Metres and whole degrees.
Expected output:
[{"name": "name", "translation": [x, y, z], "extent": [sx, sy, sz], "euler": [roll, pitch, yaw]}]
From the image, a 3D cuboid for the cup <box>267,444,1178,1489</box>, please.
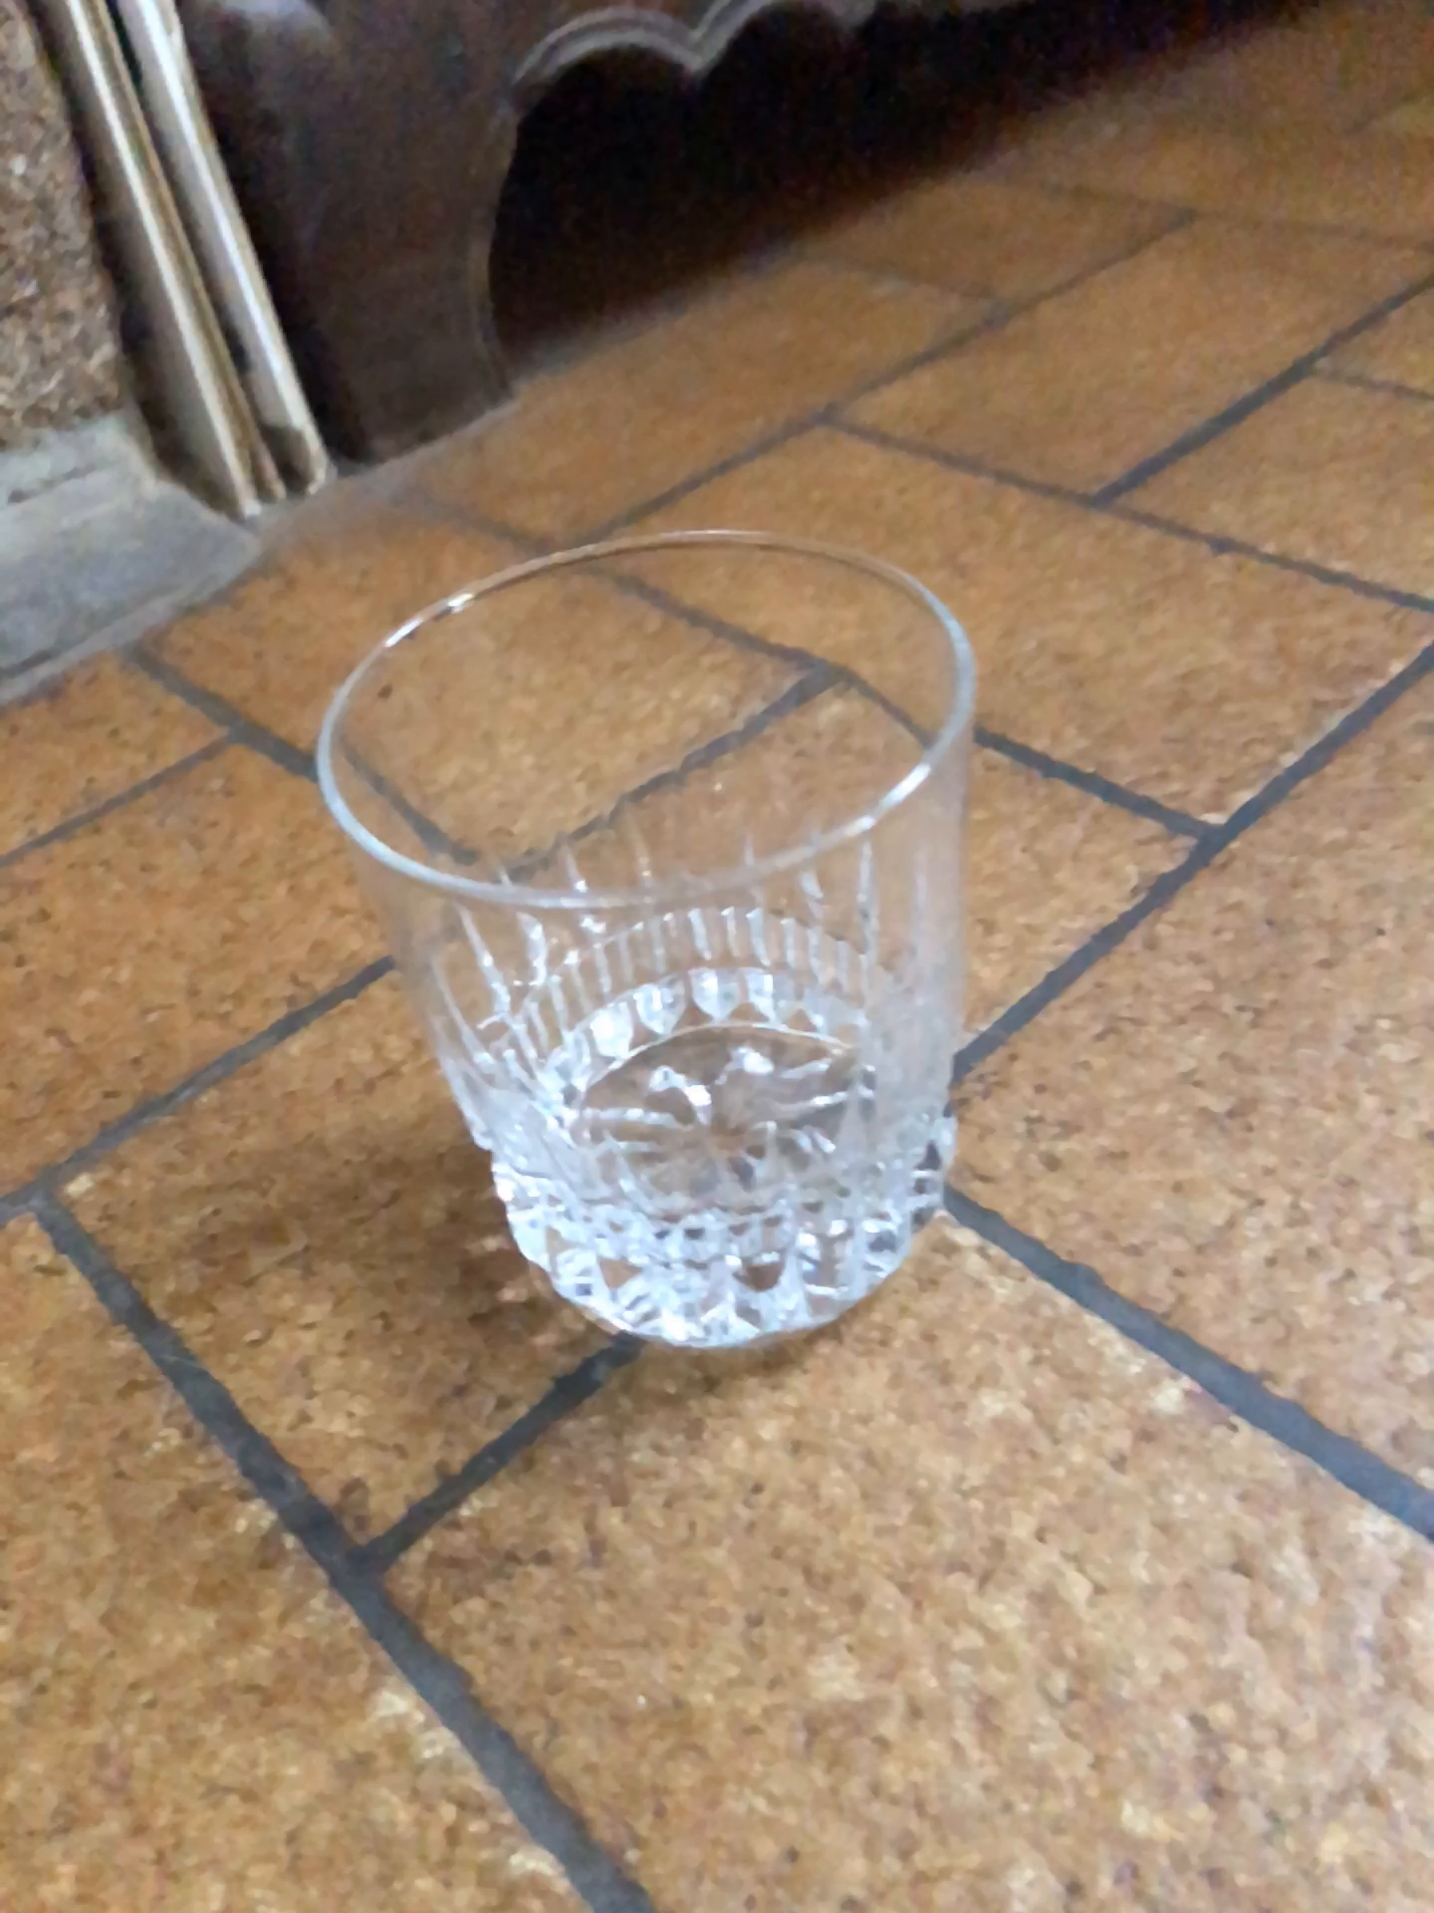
[{"name": "cup", "translation": [0.001, -0.002, 0.216], "extent": [0.080, 0.089, 0.080], "euler": [-5, 41, 4]}]
